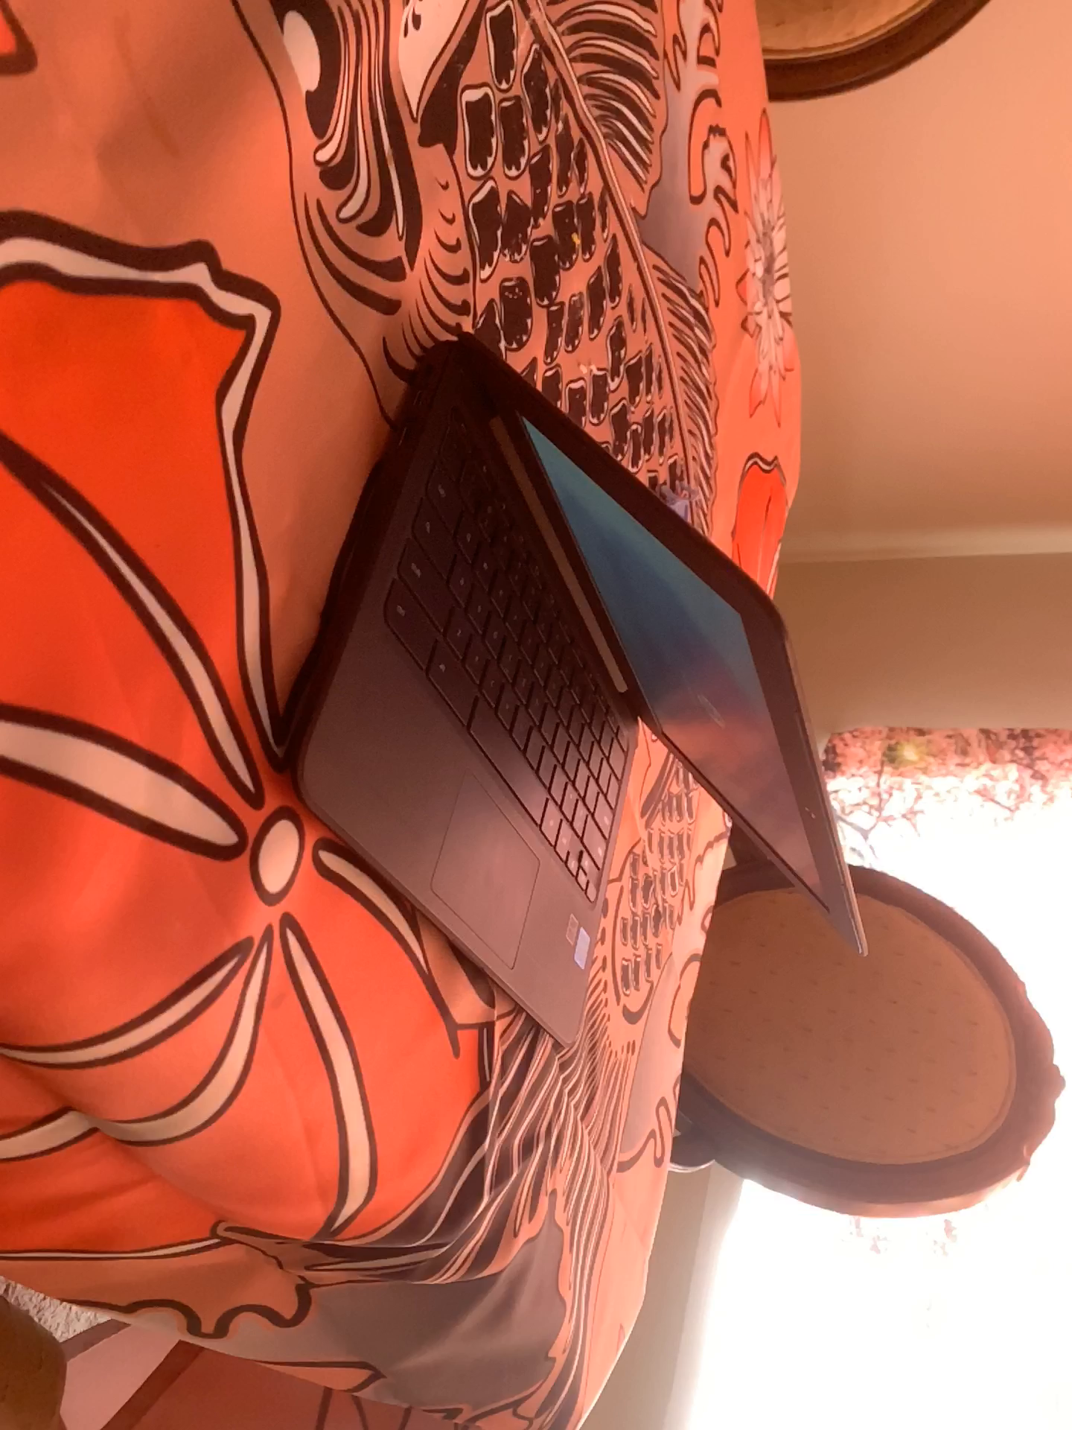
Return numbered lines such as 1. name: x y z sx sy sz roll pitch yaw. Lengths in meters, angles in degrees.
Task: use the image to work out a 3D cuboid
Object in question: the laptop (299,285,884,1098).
1. laptop: 0.063 0.014 0.483 0.300 0.144 0.211 59 38 -53
